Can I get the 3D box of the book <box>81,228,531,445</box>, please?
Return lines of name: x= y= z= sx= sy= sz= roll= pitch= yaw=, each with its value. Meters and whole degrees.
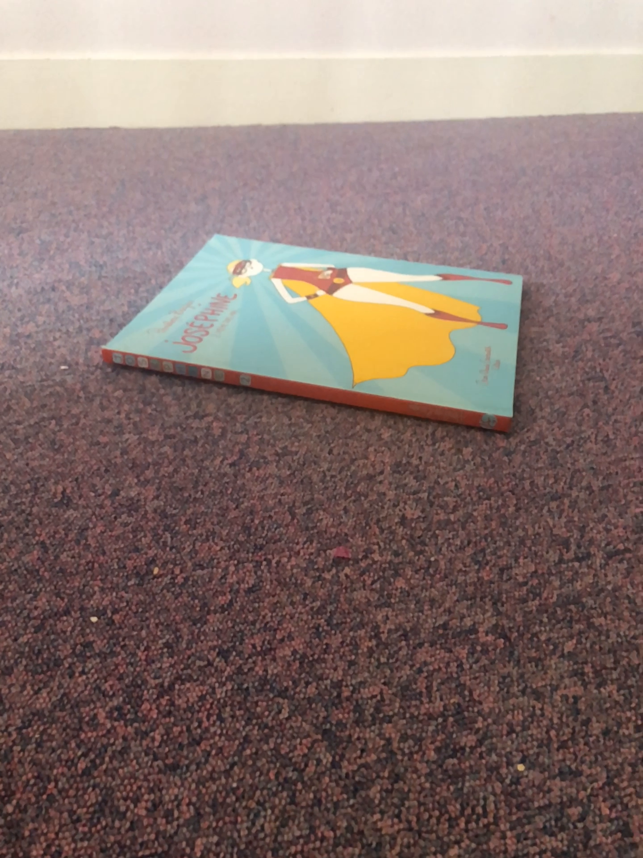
book: x=0.008 y=-0.092 z=0.571 sx=0.306 sy=0.020 sz=0.235 roll=10 pitch=38 yaw=11
